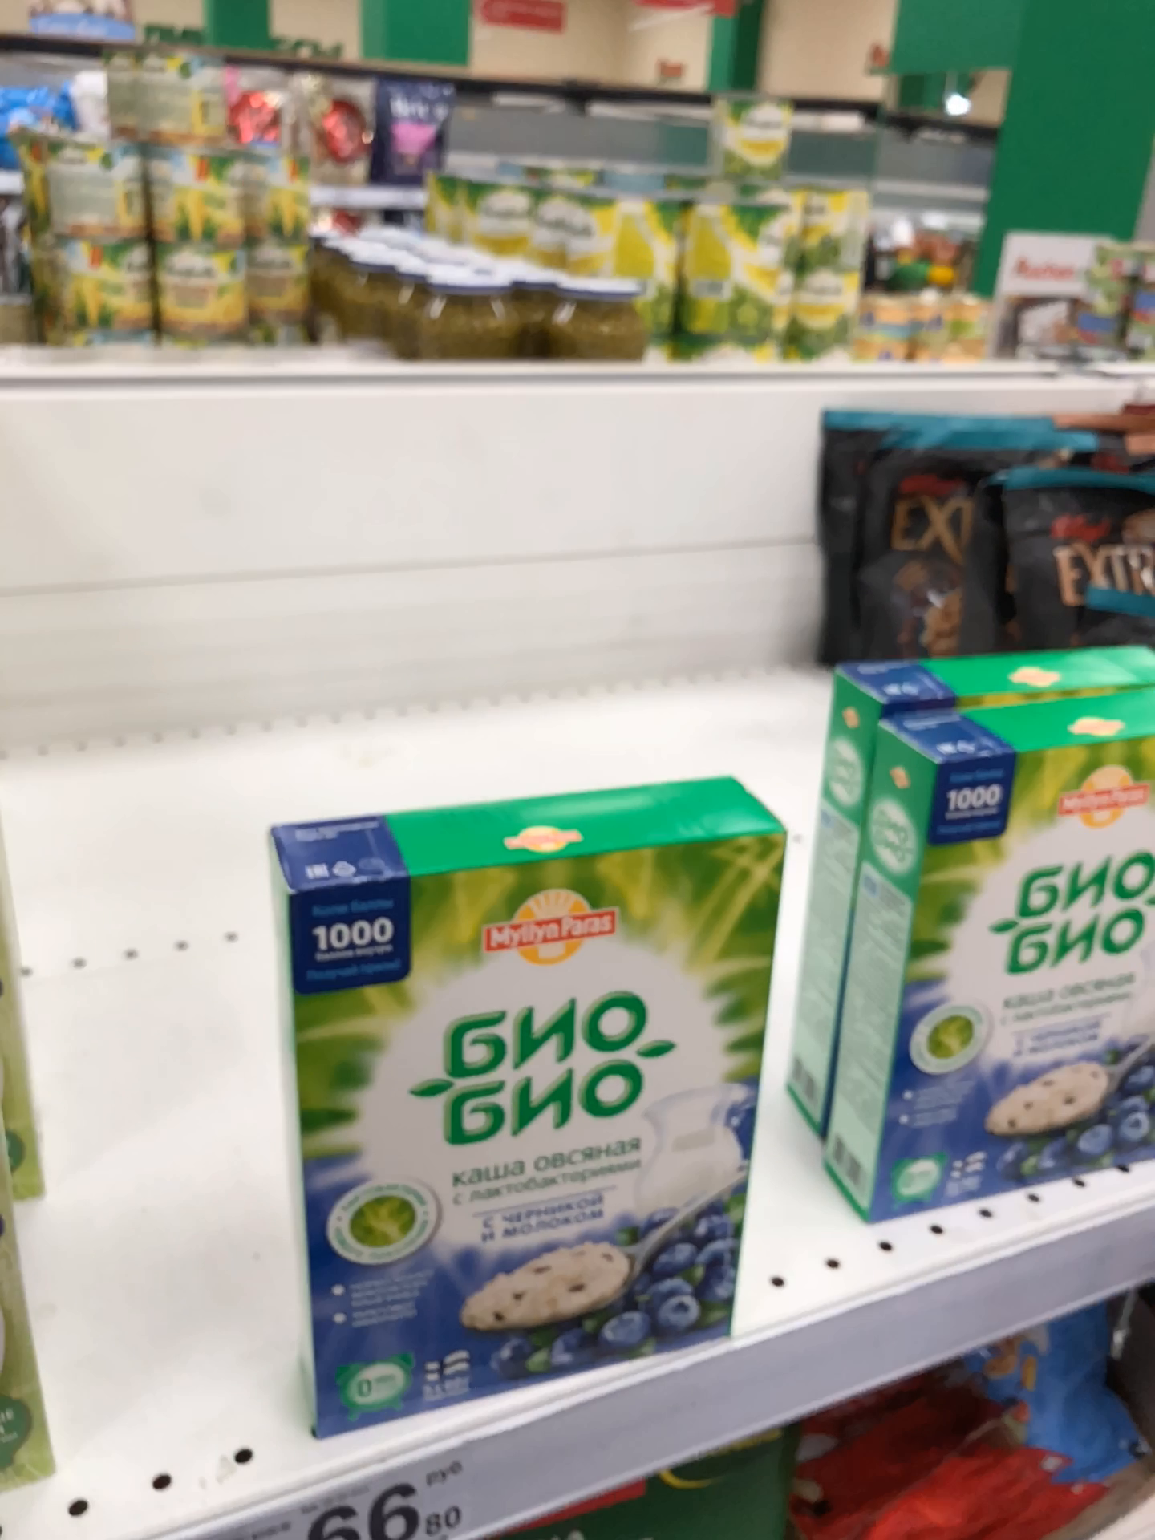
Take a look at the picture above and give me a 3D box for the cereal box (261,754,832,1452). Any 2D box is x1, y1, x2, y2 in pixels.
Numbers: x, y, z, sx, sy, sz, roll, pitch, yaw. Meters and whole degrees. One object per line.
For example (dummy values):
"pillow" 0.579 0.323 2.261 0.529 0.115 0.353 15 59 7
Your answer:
"cereal box" -0.012 0.106 0.413 0.160 0.209 0.040 -6 25 -19
